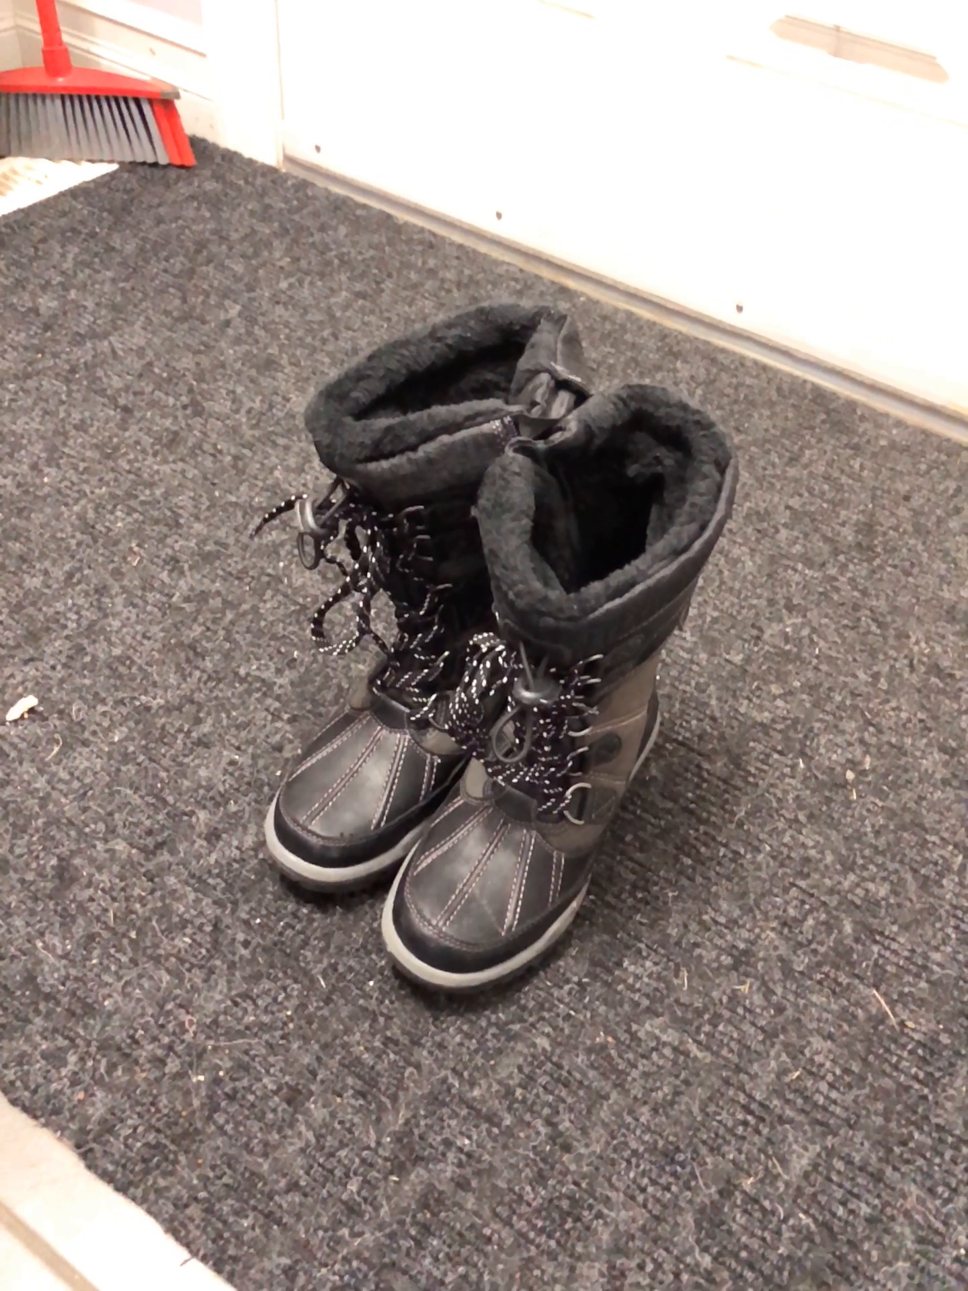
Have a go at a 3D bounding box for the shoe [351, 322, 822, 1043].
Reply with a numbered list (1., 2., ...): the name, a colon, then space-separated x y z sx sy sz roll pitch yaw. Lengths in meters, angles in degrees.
1. shoe: 0.049 0.020 0.566 0.100 0.269 0.261 26 50 18

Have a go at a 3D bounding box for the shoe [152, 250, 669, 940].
1. shoe: -0.030 -0.028 0.596 0.110 0.269 0.261 28 50 19
